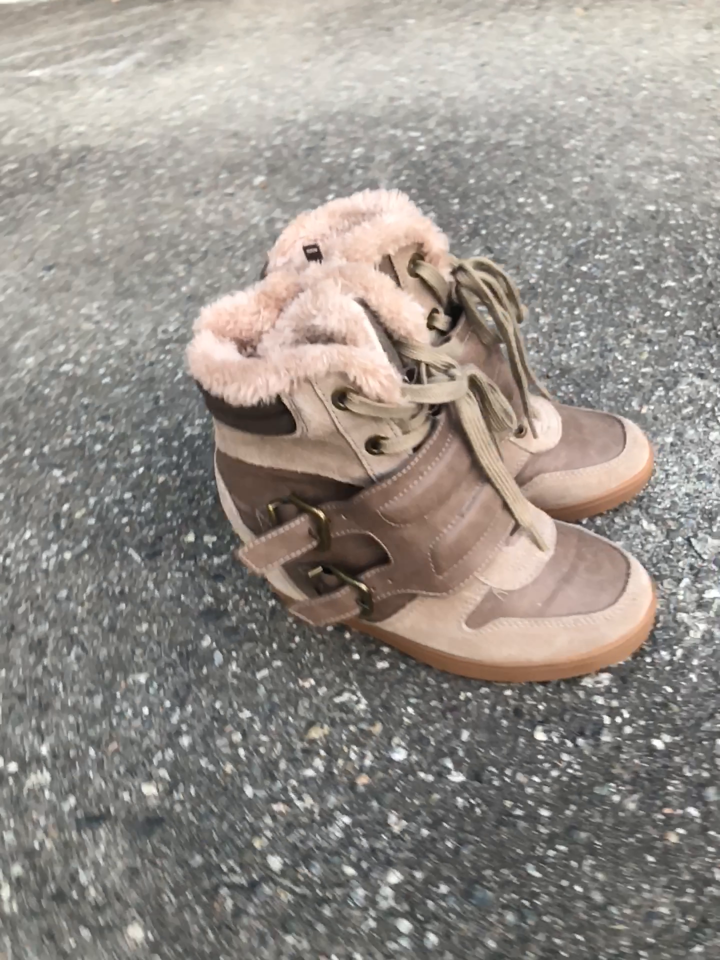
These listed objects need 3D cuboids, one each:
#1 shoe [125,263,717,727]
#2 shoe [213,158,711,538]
[{"bbox_3d":[0.033,0.005,0.393,0.230,0.179,0.090,11,47,21],"label":"shoe"},{"bbox_3d":[0.061,-0.073,0.463,0.230,0.179,0.101,4,45,15],"label":"shoe"}]
